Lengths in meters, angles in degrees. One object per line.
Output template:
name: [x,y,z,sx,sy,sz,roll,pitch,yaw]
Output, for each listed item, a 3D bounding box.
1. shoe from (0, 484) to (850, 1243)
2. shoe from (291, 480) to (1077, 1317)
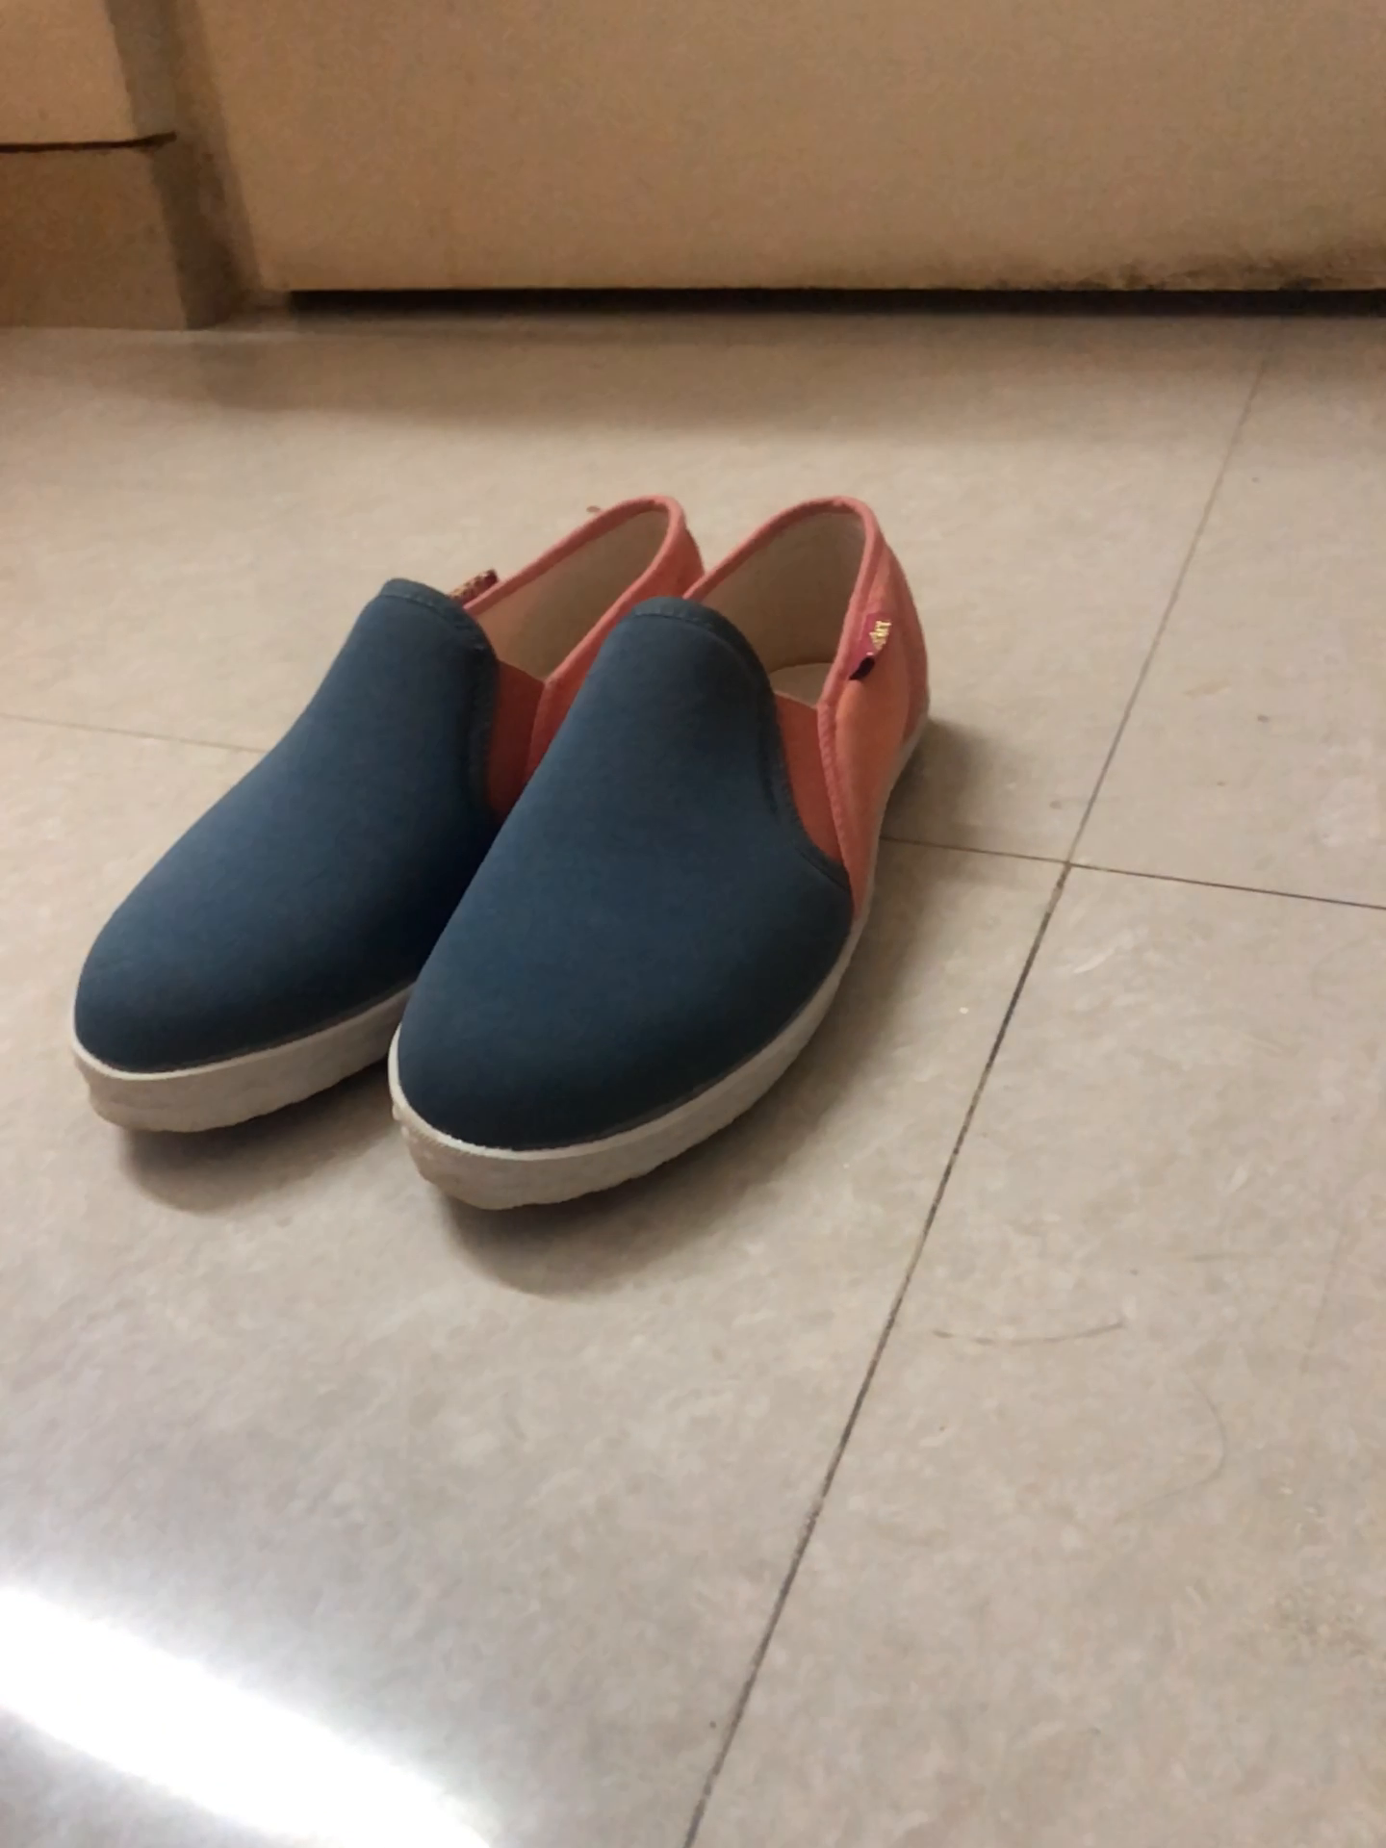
shoe: [-0.048,-0.034,0.366,0.090,0.060,0.221,12,39,25]
shoe: [0.018,-0.028,0.336,0.090,0.060,0.221,8,37,20]
